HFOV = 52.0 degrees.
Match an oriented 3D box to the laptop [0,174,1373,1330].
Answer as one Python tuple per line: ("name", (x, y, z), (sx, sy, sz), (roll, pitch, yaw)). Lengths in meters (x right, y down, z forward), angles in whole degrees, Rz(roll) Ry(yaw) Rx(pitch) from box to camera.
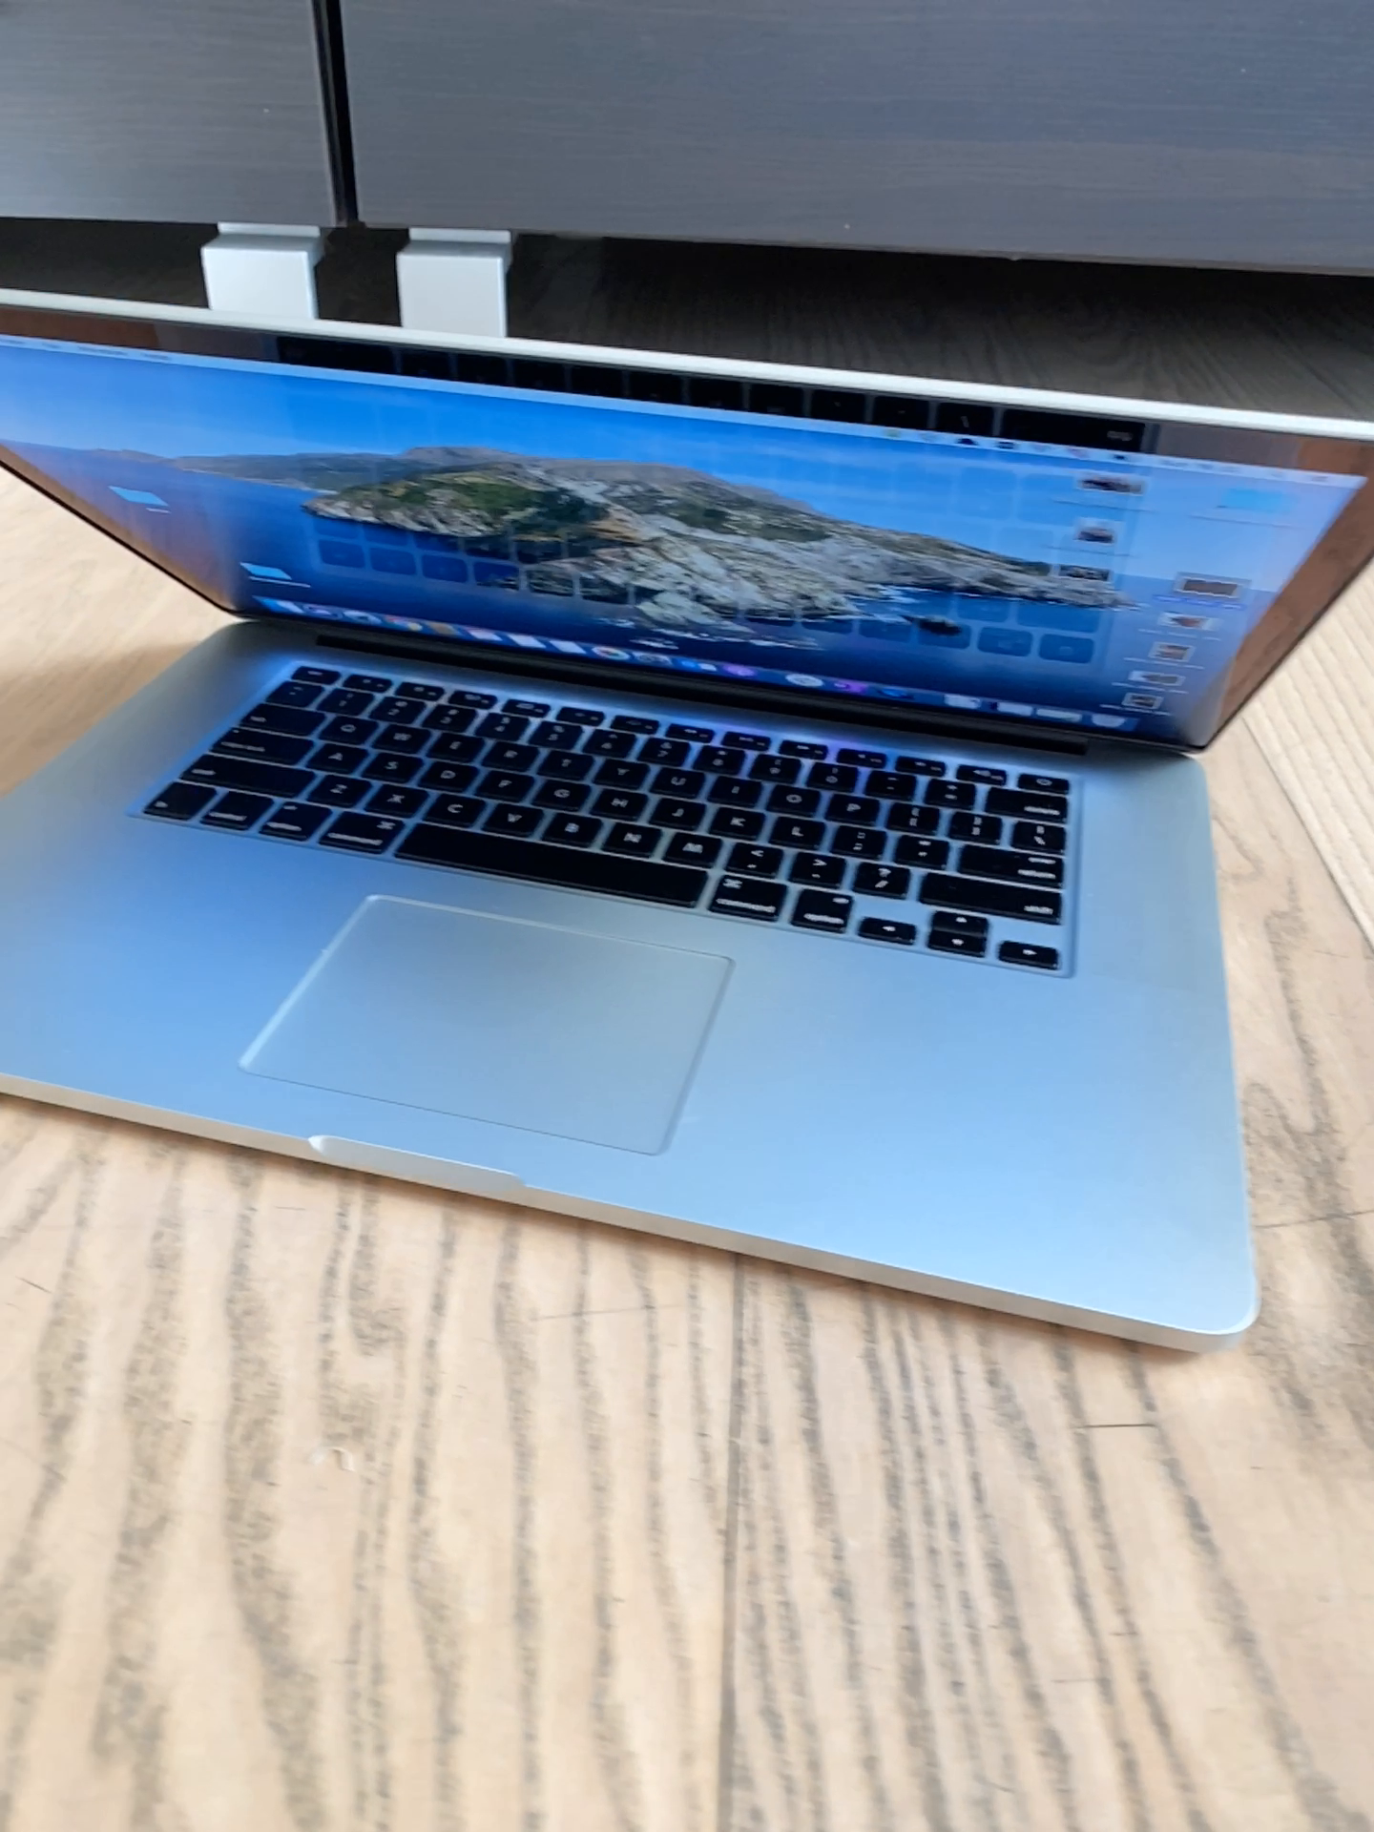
("laptop", (-0.030, -0.076, 0.373), (0.362, 0.157, 0.237), (10, 37, 10))
